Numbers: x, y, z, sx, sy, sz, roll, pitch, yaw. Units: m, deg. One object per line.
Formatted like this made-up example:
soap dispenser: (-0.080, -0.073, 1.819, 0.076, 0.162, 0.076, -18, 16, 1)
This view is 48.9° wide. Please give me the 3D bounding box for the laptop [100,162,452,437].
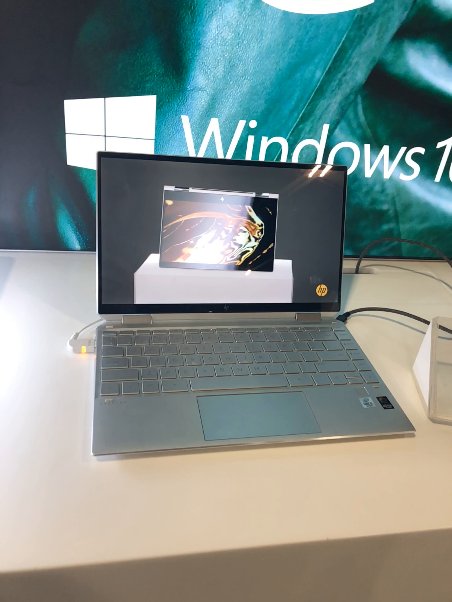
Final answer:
laptop: (0.022, -0.015, 0.493, 0.281, 0.194, 0.241, 0, 26, -14)
